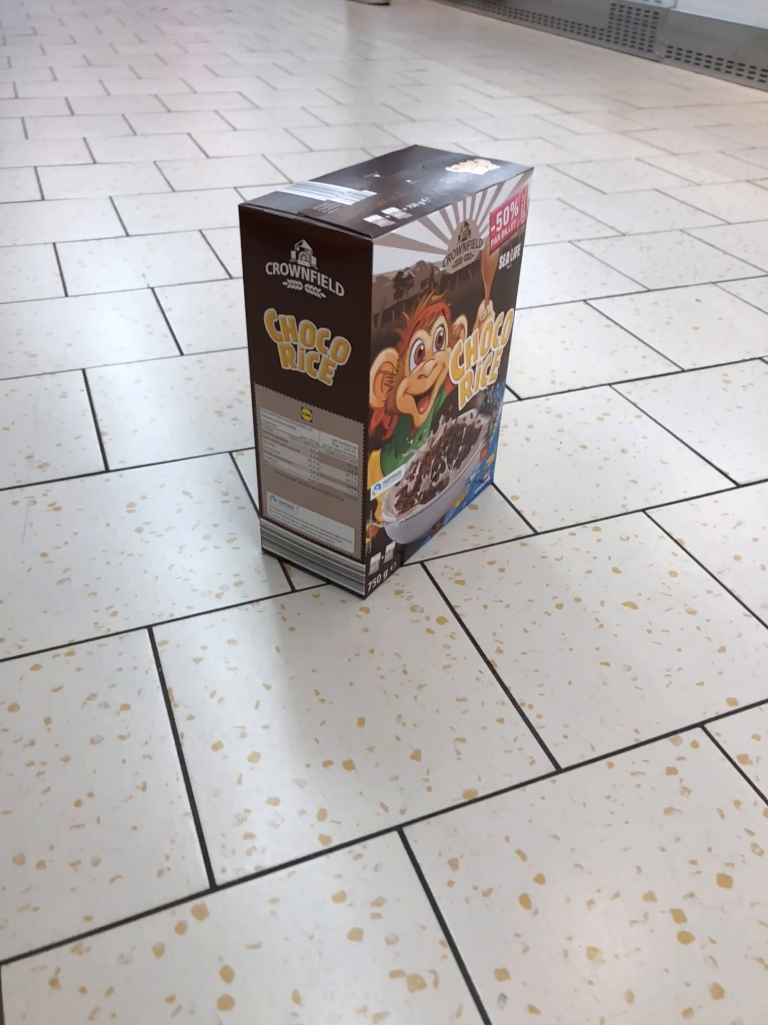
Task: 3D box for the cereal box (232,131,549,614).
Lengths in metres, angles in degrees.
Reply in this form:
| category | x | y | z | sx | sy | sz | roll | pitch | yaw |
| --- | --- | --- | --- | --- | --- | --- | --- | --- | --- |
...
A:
| category | x | y | z | sx | sy | sz | roll | pitch | yaw |
| --- | --- | --- | --- | --- | --- | --- | --- | --- | --- |
| cereal box | 0.008 | -0.103 | 0.600 | 0.100 | 0.268 | 0.201 | 23 | 40 | 27 |
